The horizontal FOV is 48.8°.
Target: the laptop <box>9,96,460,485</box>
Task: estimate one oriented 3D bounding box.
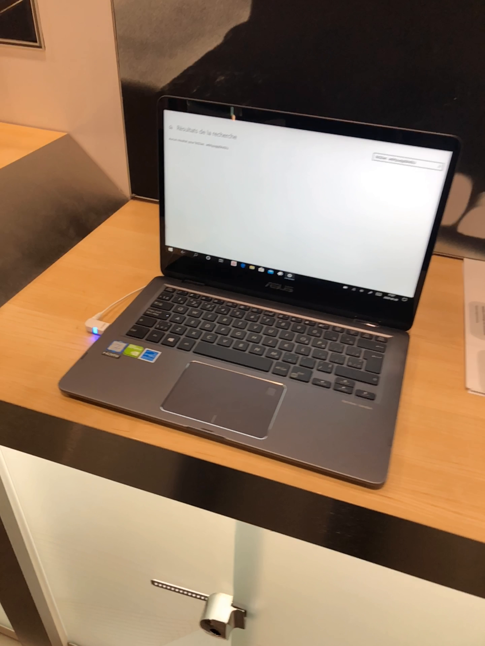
[{"bbox_3d":[0.011,-0.054,0.521,0.320,0.224,0.240,14,39,14],"label":"laptop"}]
